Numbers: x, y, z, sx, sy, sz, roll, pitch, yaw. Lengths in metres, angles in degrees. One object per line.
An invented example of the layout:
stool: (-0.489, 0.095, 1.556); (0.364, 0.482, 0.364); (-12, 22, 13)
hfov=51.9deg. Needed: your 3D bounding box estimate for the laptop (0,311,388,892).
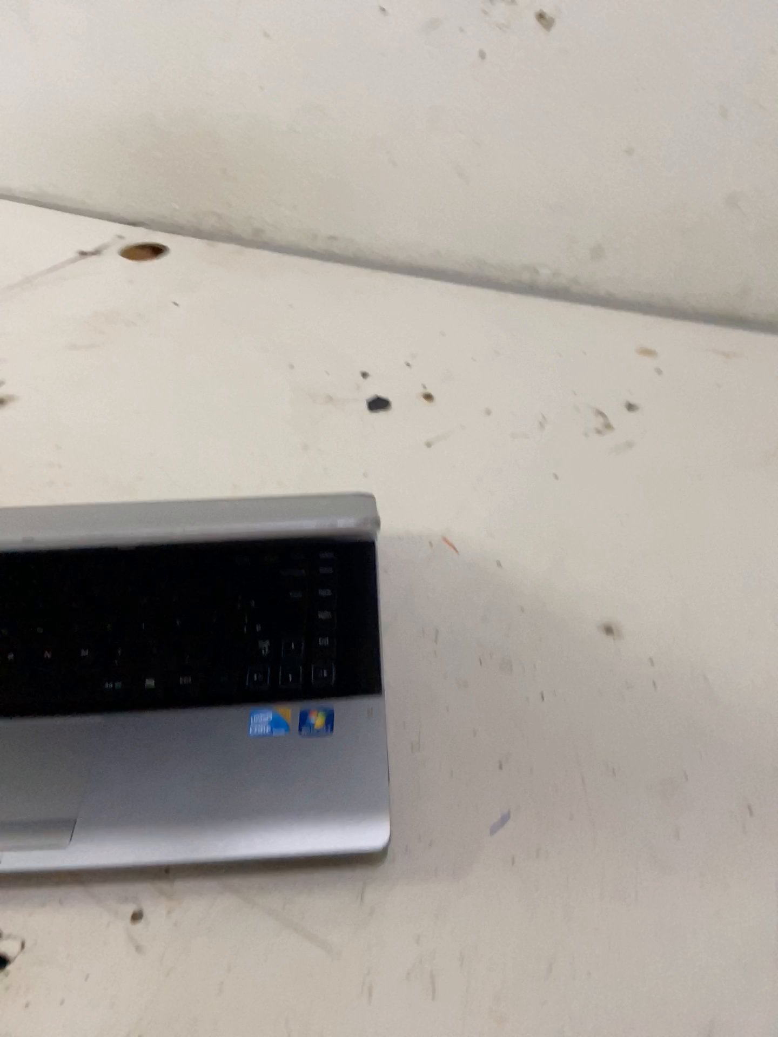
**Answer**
laptop: (-0.174, 0.019, 0.381); (0.336, 0.133, 0.233); (-2, 39, -2)
